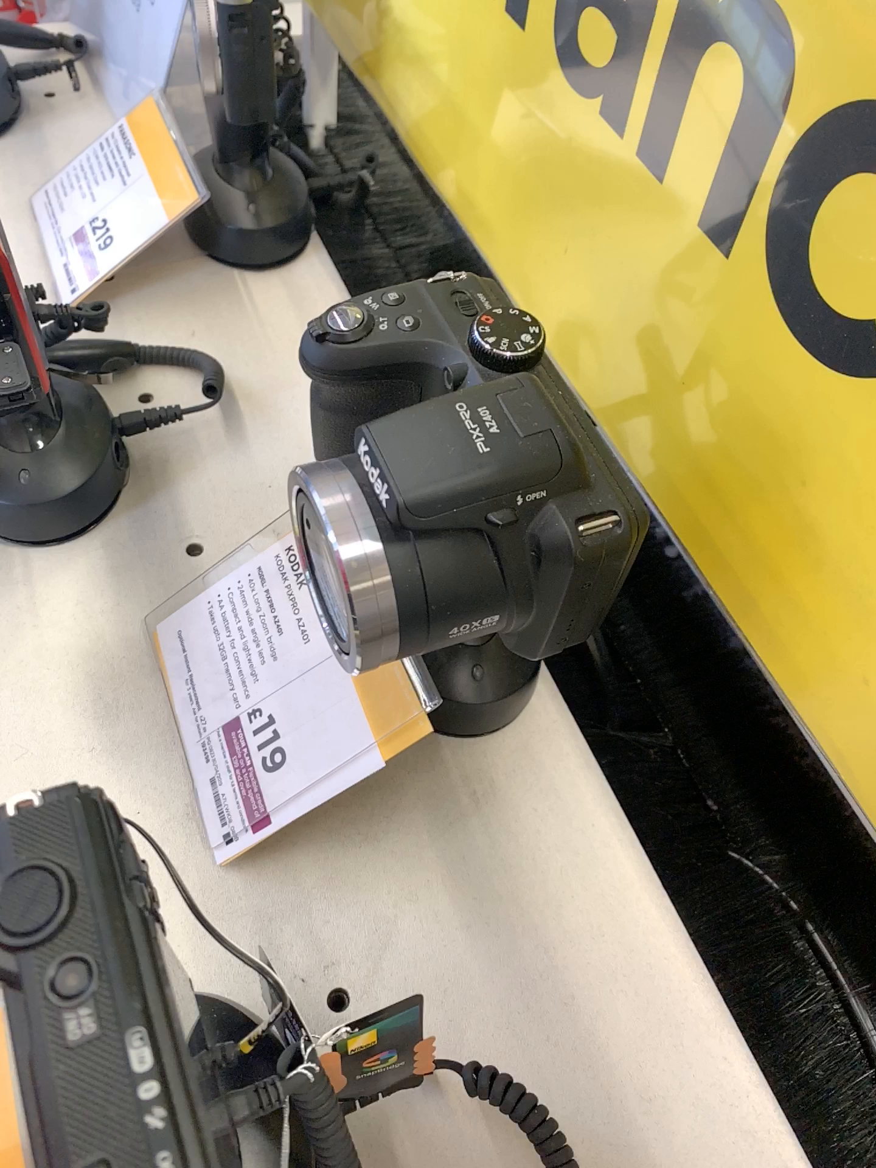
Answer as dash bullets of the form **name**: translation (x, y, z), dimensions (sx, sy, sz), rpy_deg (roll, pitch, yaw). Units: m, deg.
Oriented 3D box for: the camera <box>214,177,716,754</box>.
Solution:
- **camera**: translation (-0.003, -0.039, 0.284), dimensions (0.090, 0.099, 0.131), rpy_deg (-17, 59, -17)
